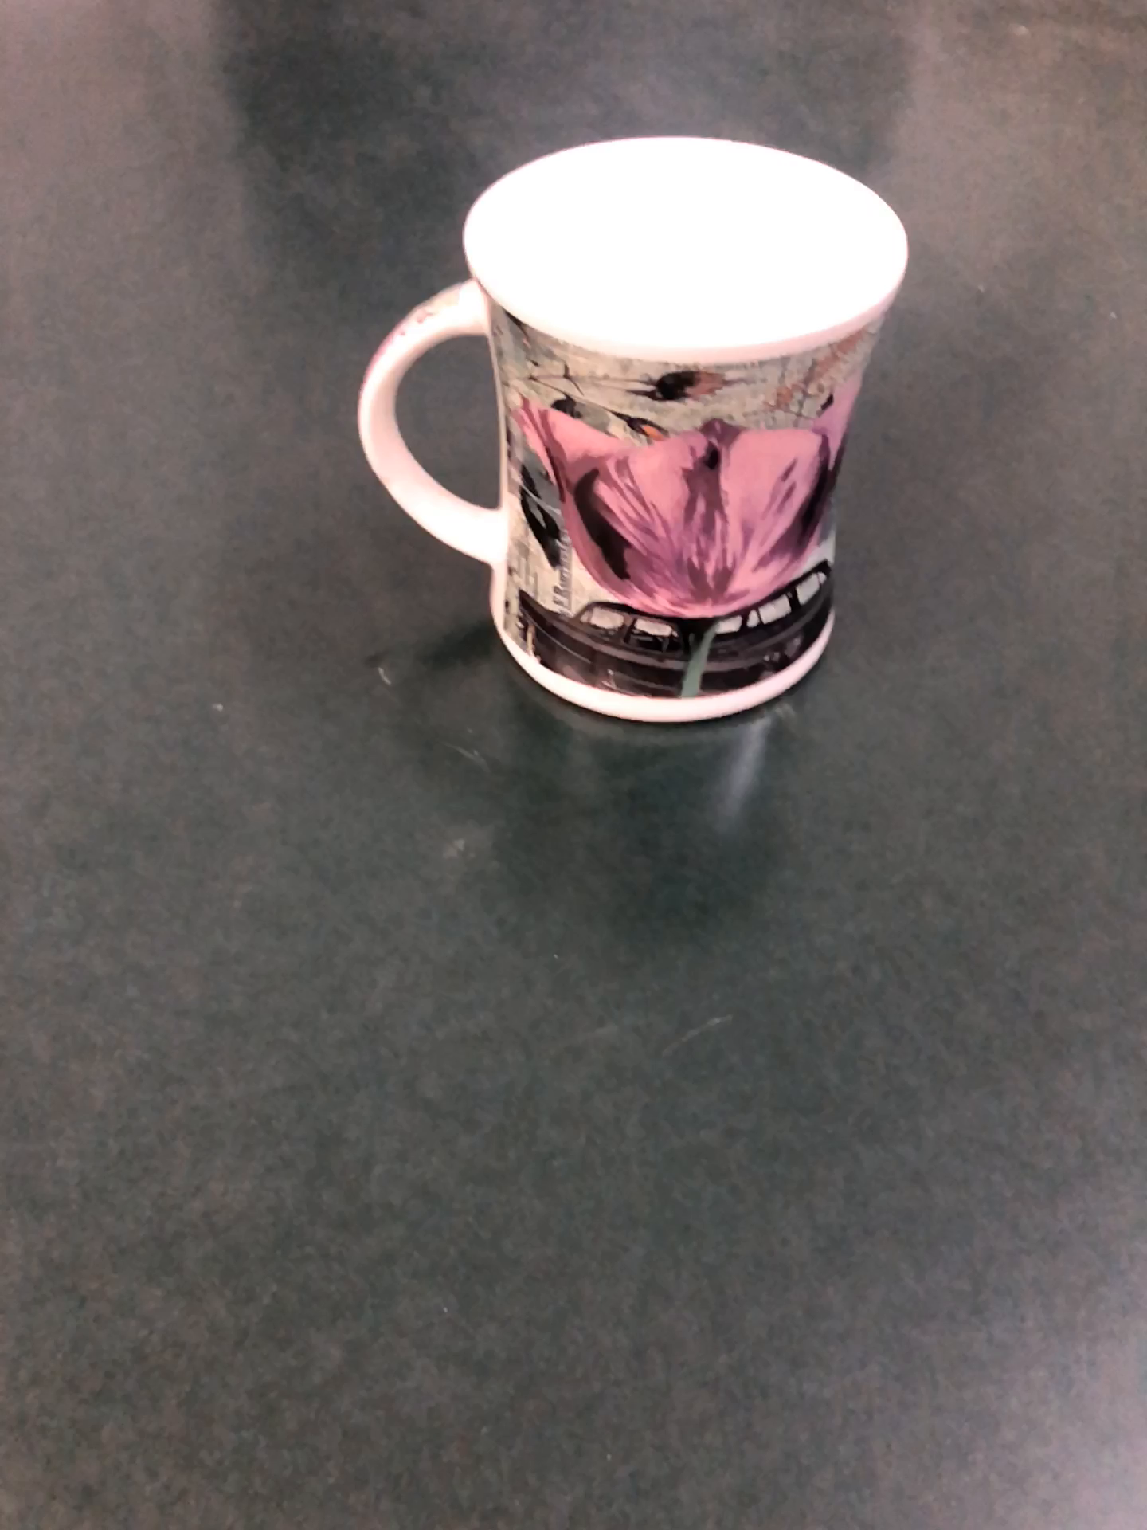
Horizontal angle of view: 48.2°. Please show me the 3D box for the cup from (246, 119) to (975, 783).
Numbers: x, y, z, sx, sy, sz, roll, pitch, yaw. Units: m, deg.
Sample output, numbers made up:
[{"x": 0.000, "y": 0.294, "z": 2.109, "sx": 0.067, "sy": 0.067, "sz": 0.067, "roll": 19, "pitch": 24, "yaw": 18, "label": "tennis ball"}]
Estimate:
[{"x": 0.006, "y": -0.066, "z": 0.282, "sx": 0.120, "sy": 0.110, "sz": 0.090, "roll": 0, "pitch": 48, "yaw": 0, "label": "cup"}]
